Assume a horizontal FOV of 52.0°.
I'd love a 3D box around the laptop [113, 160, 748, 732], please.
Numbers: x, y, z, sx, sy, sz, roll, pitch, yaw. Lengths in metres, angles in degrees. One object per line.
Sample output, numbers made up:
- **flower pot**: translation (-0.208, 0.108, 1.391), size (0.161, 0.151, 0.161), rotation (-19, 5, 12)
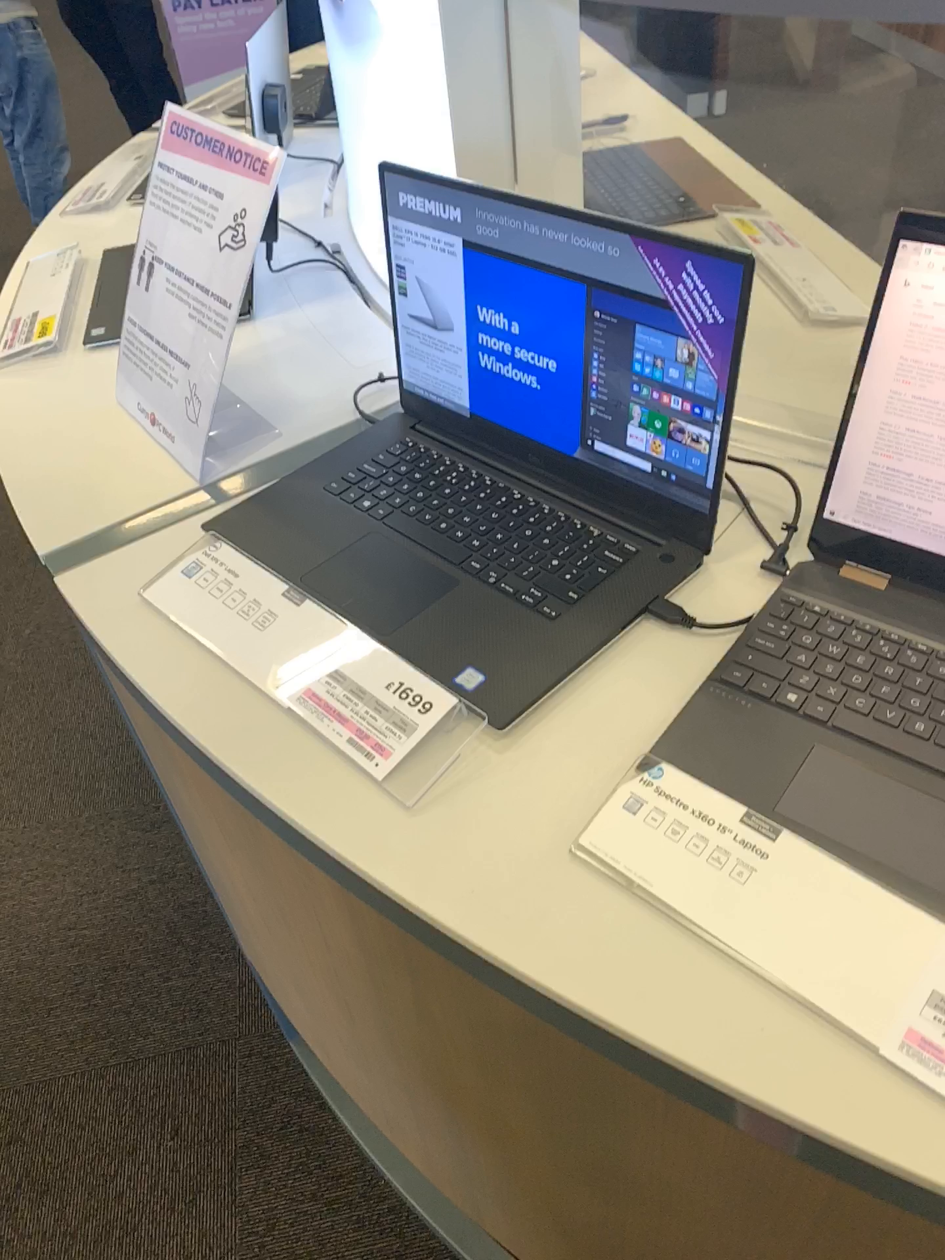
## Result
- **laptop**: translation (-0.029, -0.161, 0.713), size (0.352, 0.224, 0.254), rotation (31, 54, 34)
